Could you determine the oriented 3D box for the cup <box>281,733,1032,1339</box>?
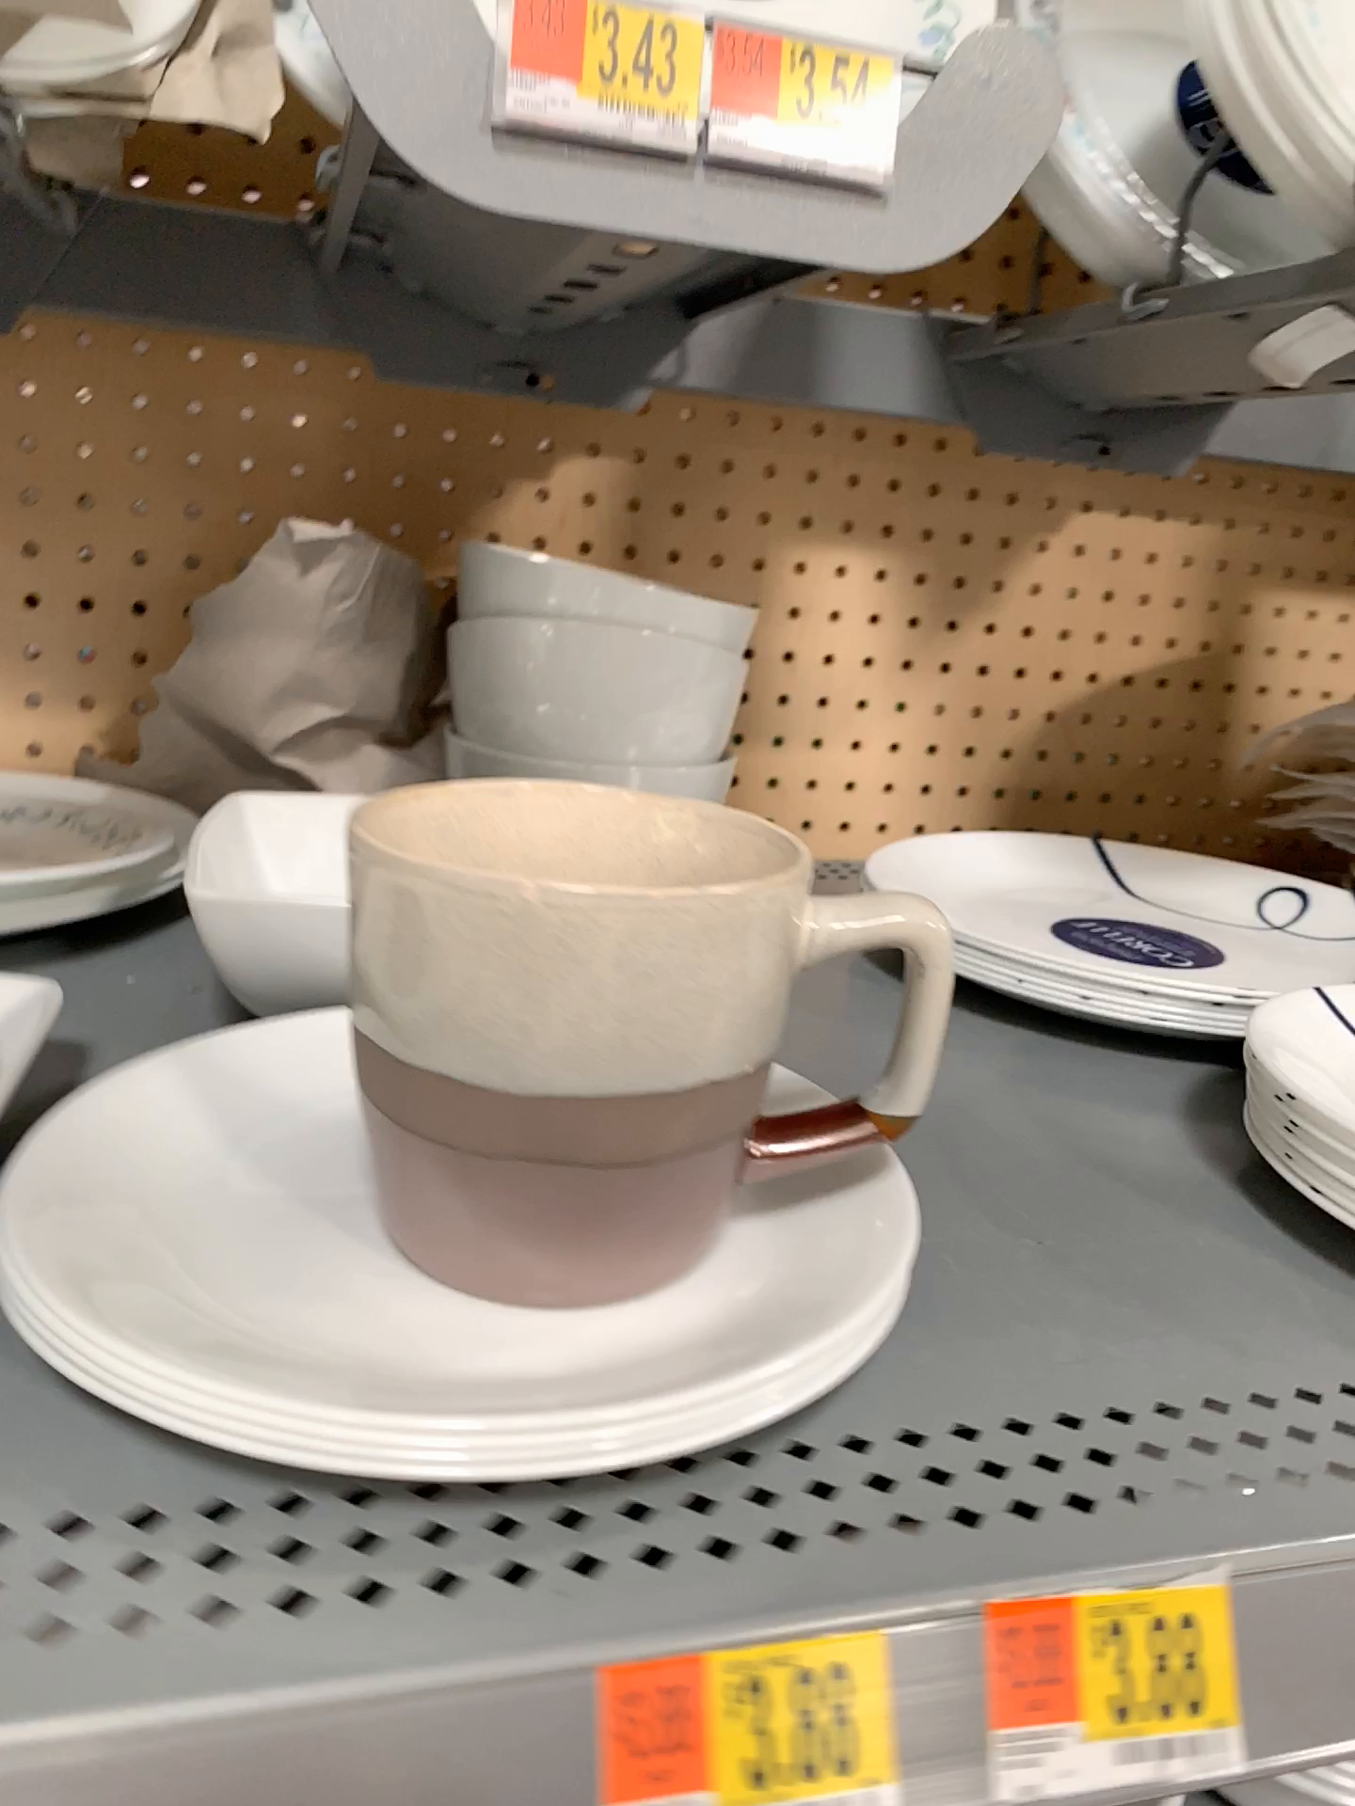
[{"bbox_3d":[-0.015,0.022,0.317,0.138,0.096,0.107,2,16,-14],"label":"cup"}]
